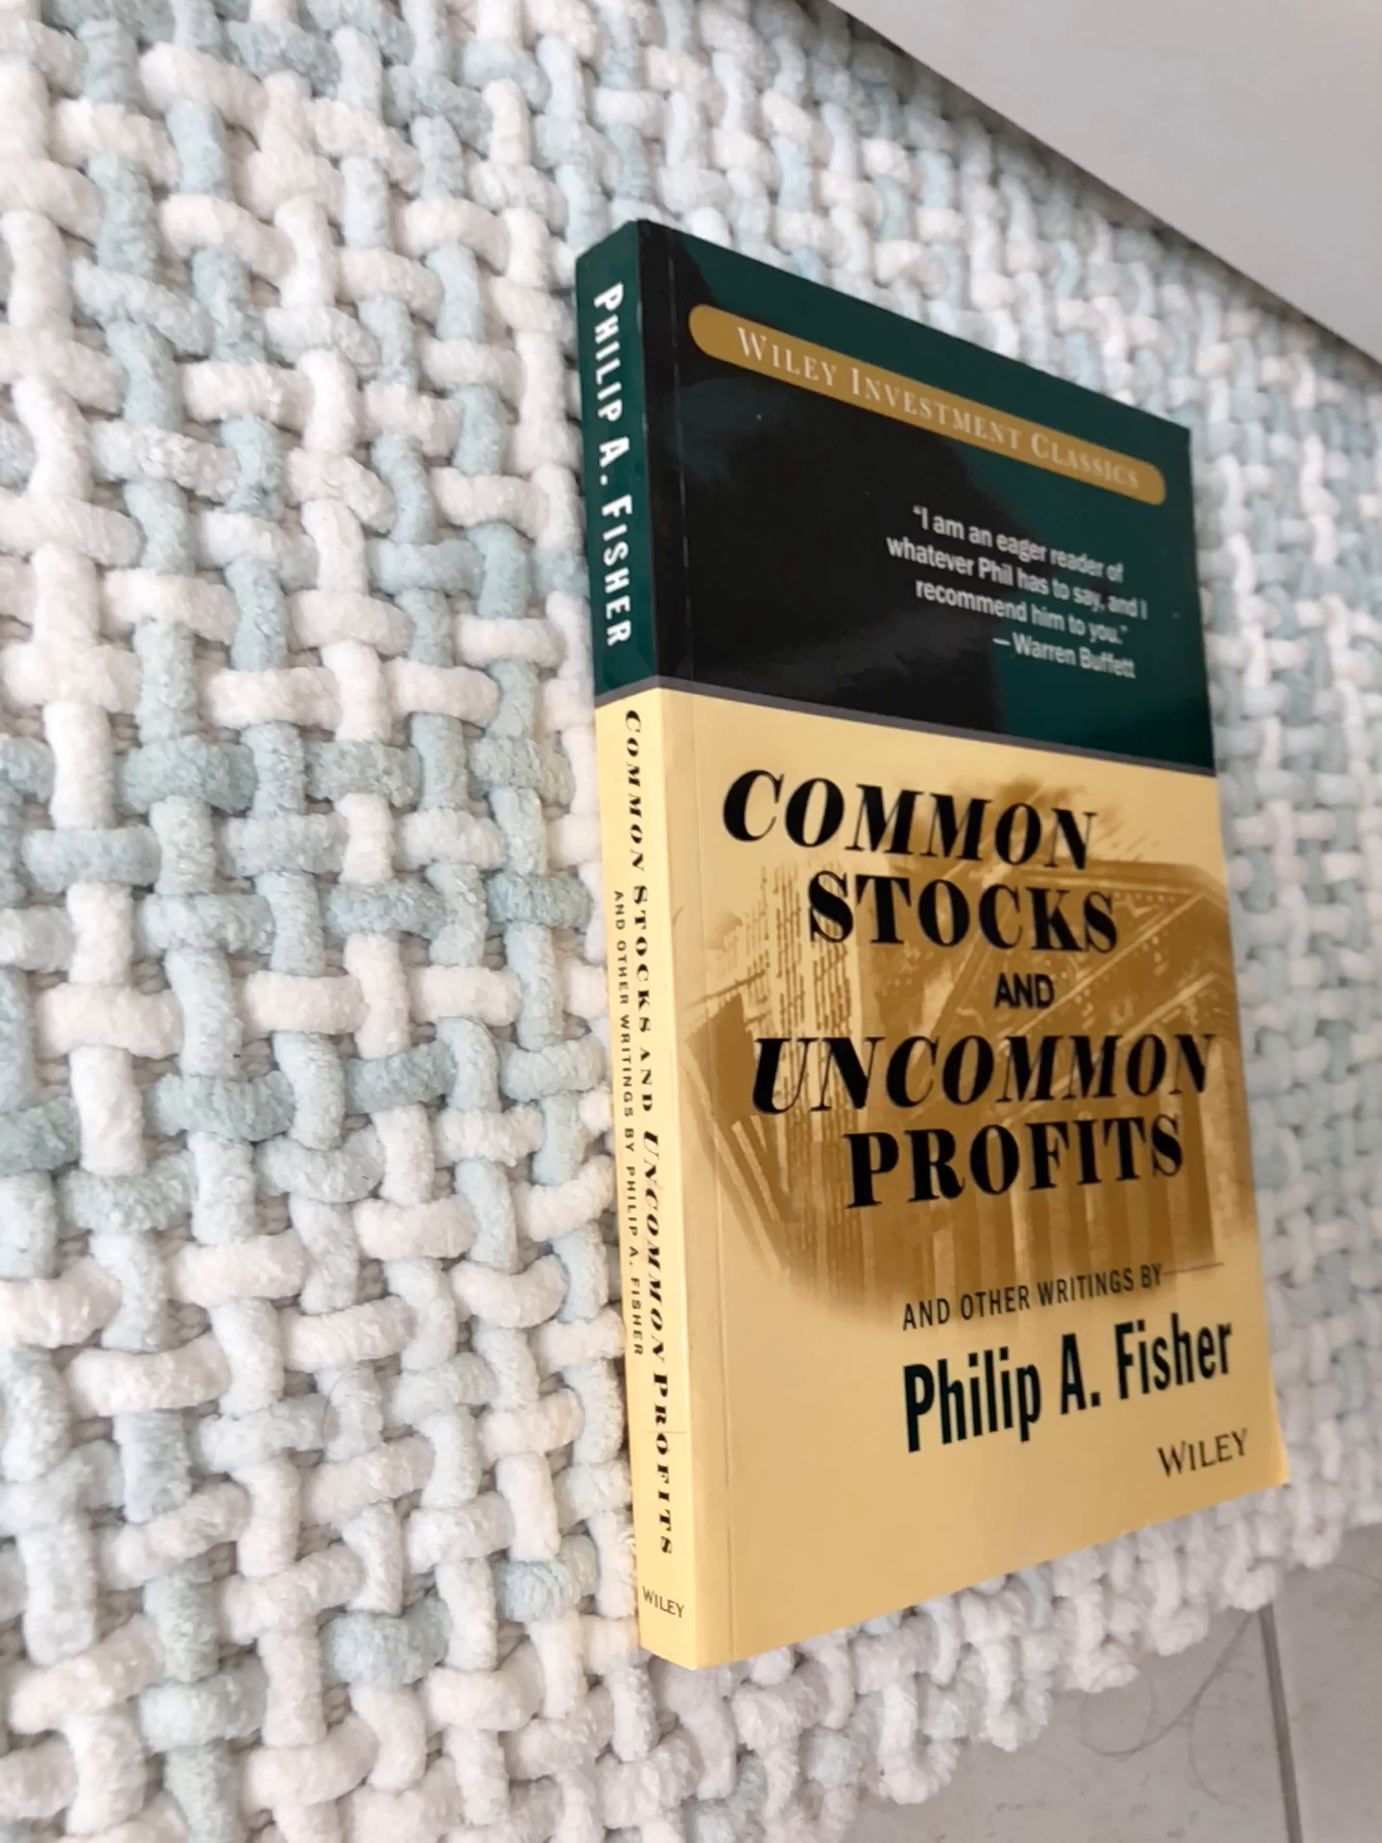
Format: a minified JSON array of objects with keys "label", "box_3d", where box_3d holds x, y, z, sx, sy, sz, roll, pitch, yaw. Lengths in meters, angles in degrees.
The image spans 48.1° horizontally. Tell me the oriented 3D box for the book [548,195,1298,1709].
[{"label":"book","box_3d":[0.053,0.003,0.312,0.167,0.026,0.247,3,81,-38]}]
